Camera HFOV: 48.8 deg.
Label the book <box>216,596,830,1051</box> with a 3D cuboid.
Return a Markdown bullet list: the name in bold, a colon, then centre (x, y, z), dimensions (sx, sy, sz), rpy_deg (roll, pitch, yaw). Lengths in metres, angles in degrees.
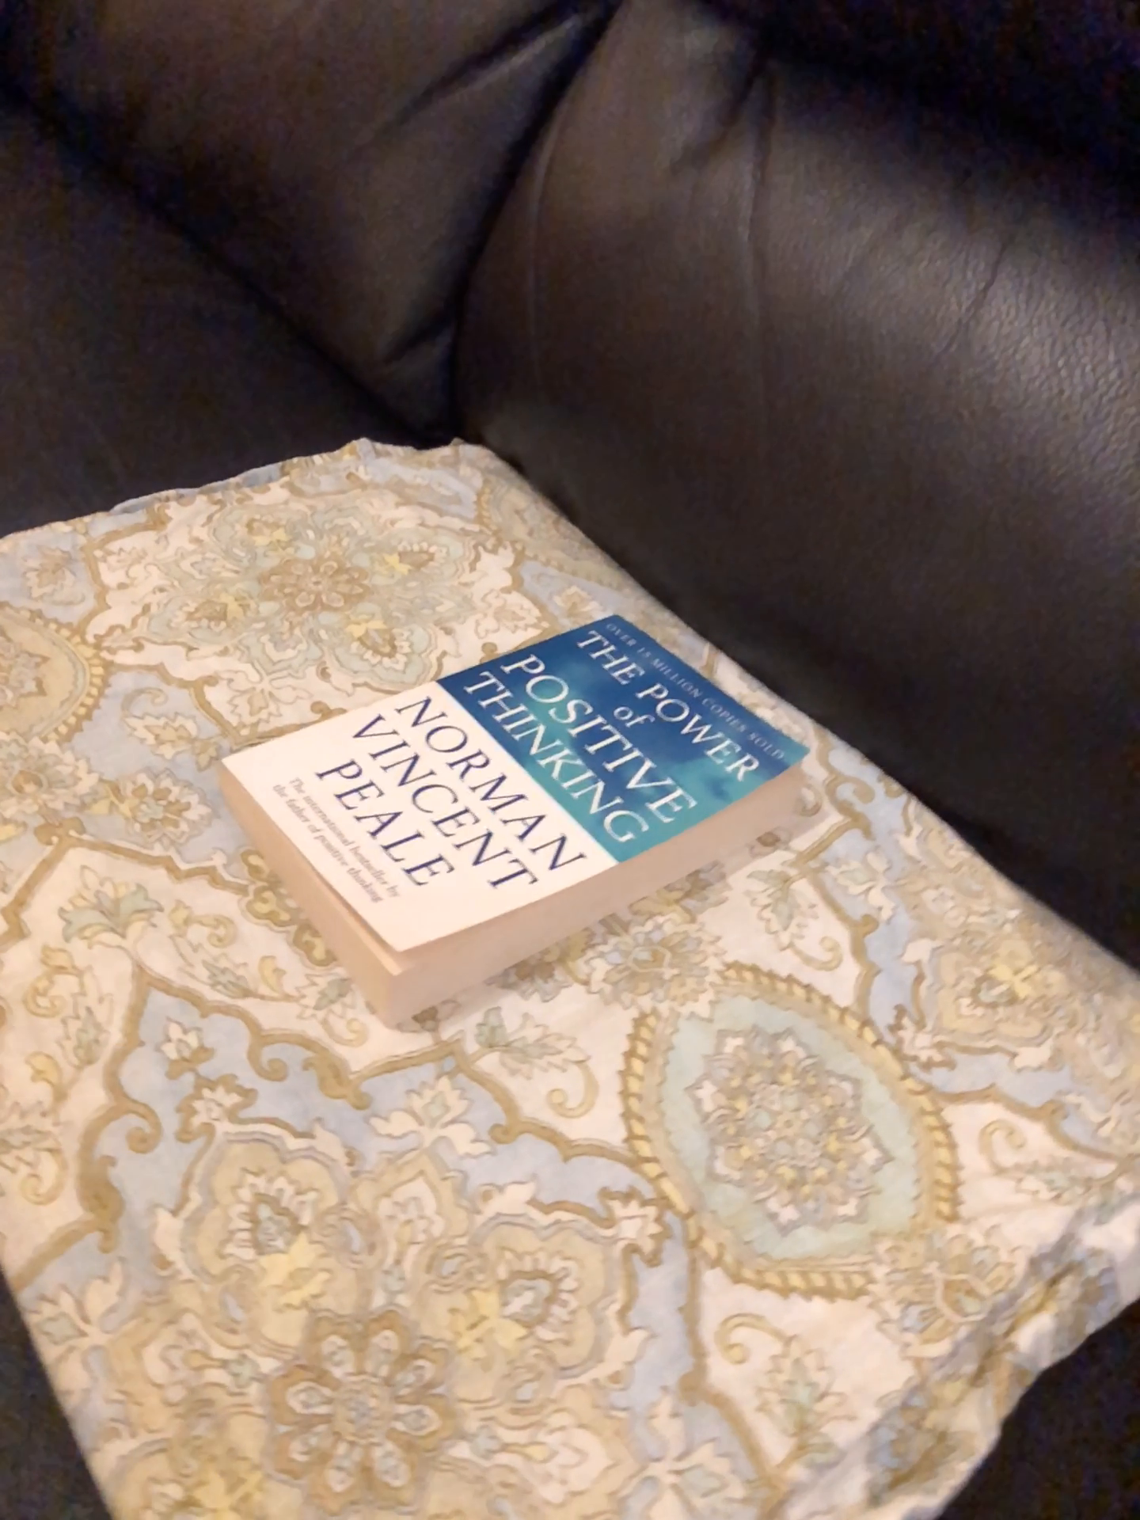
- **book**: centre (-0.015, 0.011, 0.456), dimensions (0.183, 0.030, 0.120), rpy_deg (-25, 52, -31)
